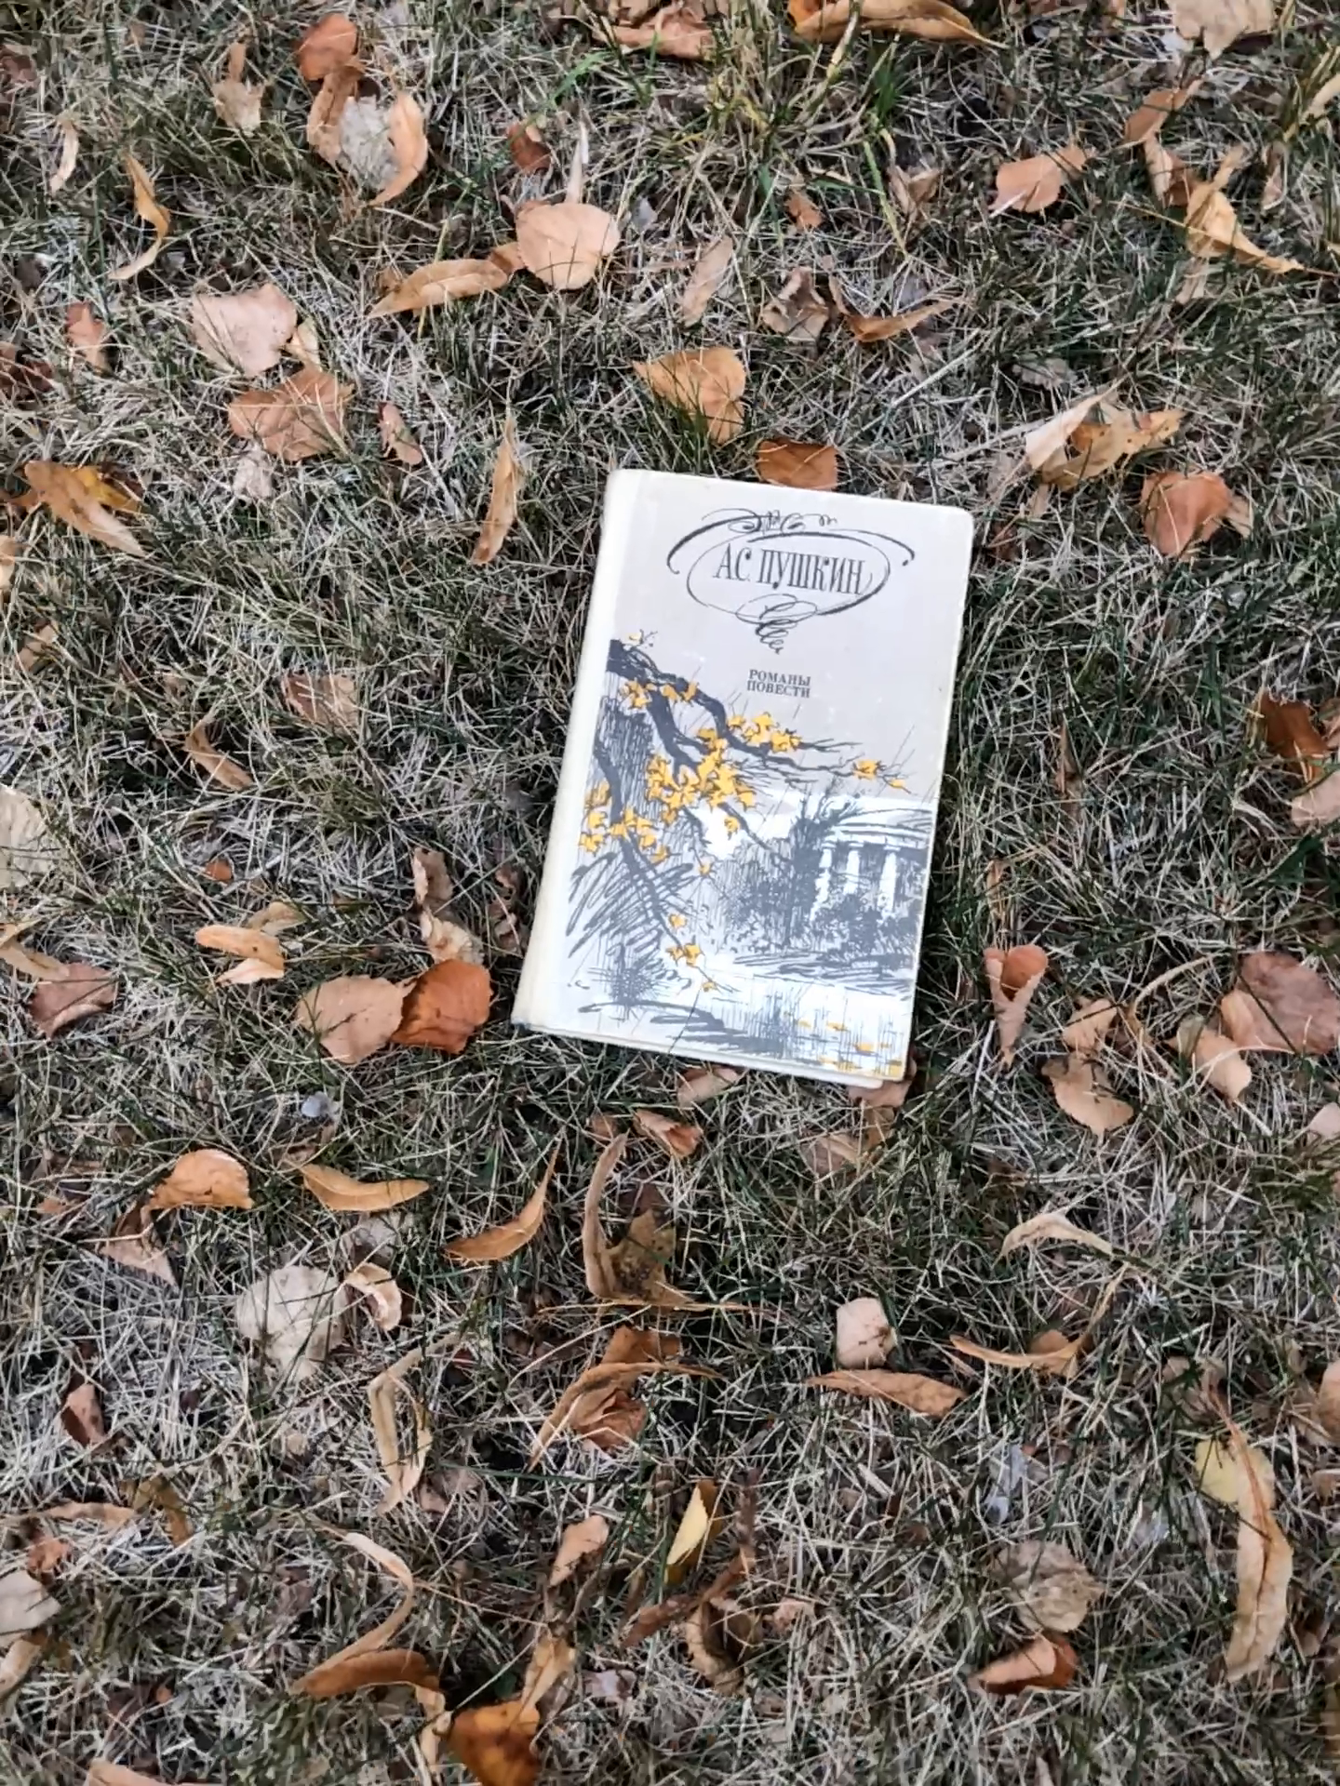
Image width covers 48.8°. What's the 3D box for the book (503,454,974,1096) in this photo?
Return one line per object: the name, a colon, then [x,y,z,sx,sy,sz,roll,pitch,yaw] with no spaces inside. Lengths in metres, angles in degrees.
book: [0.026,-0.043,0.523,0.135,0.021,0.210,8,81,2]
